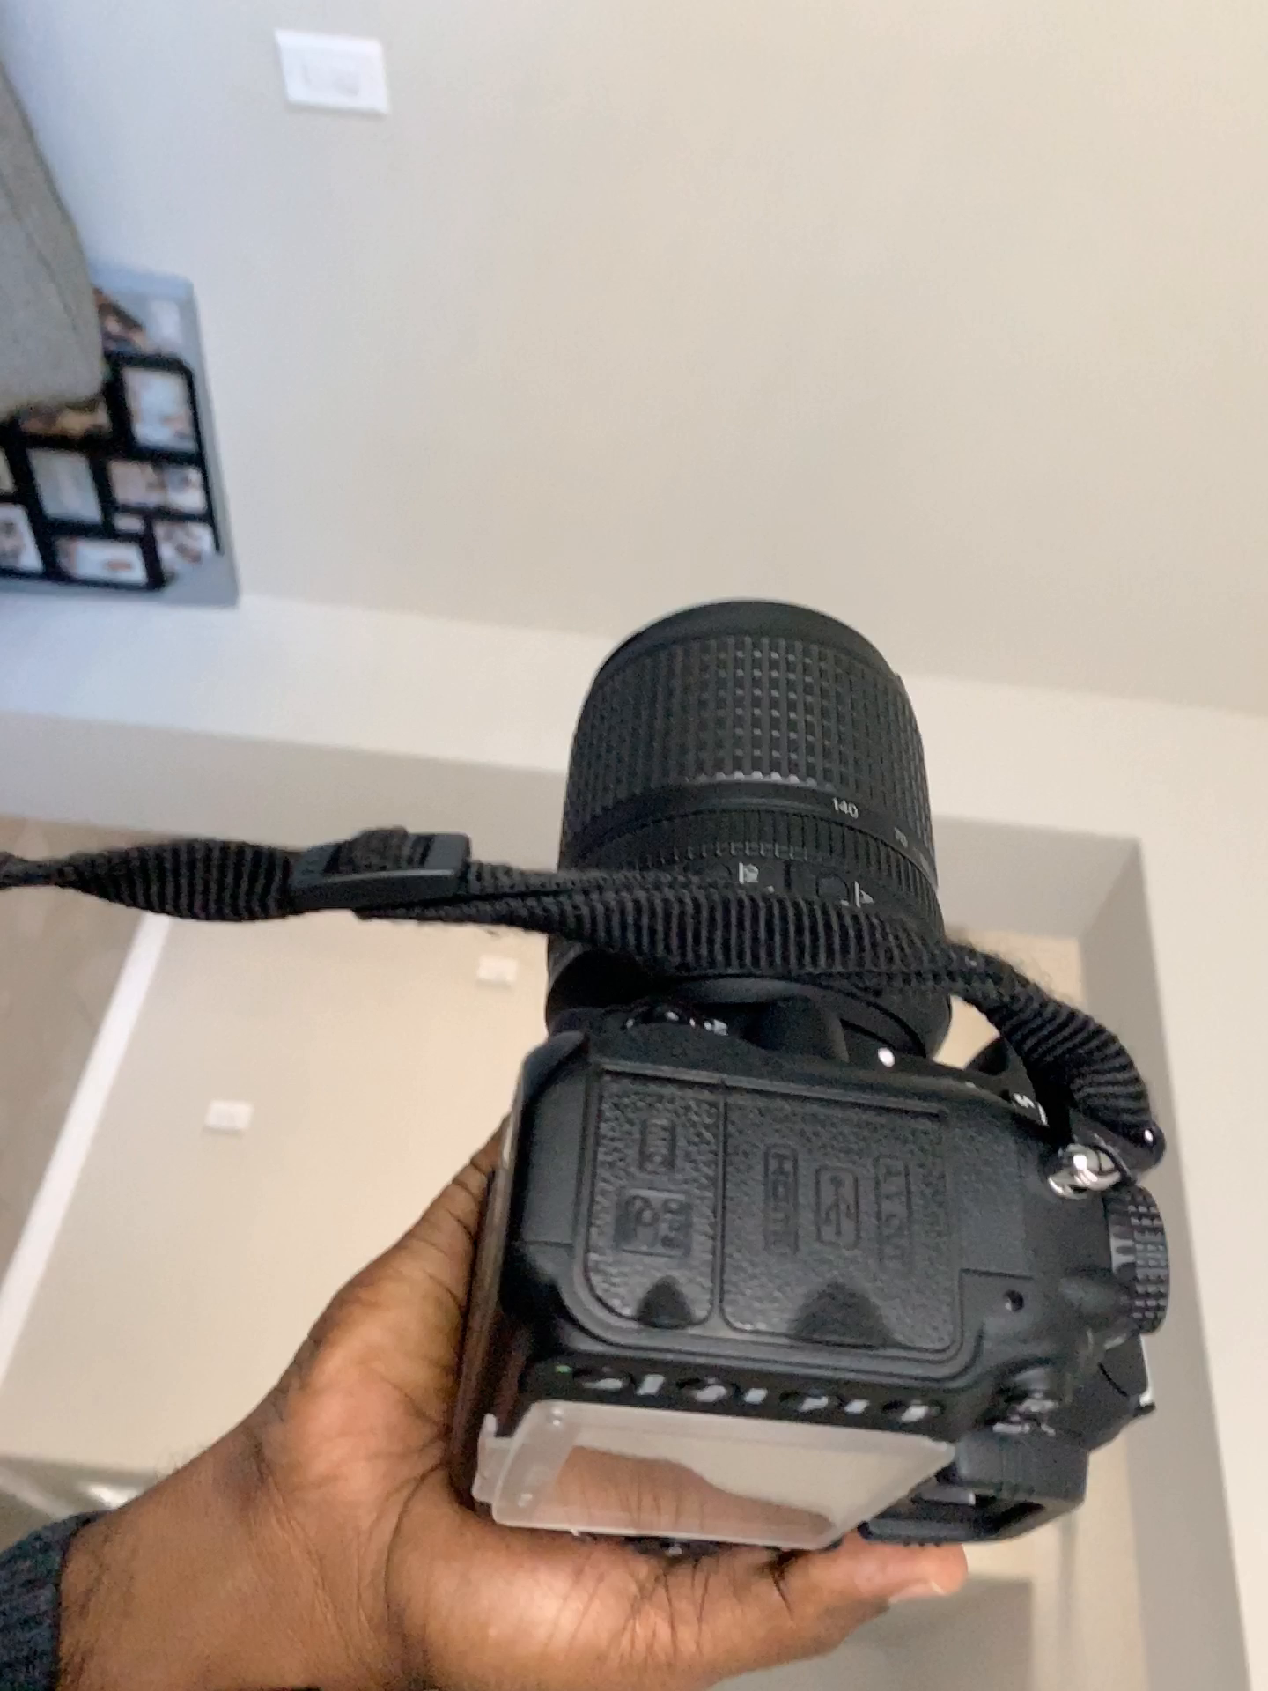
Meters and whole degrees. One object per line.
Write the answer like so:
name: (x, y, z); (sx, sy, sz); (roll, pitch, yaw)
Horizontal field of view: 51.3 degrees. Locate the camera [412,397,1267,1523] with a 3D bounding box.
camera: (0.027, 0.035, 0.281); (0.159, 0.114, 0.171); (109, -13, -55)
